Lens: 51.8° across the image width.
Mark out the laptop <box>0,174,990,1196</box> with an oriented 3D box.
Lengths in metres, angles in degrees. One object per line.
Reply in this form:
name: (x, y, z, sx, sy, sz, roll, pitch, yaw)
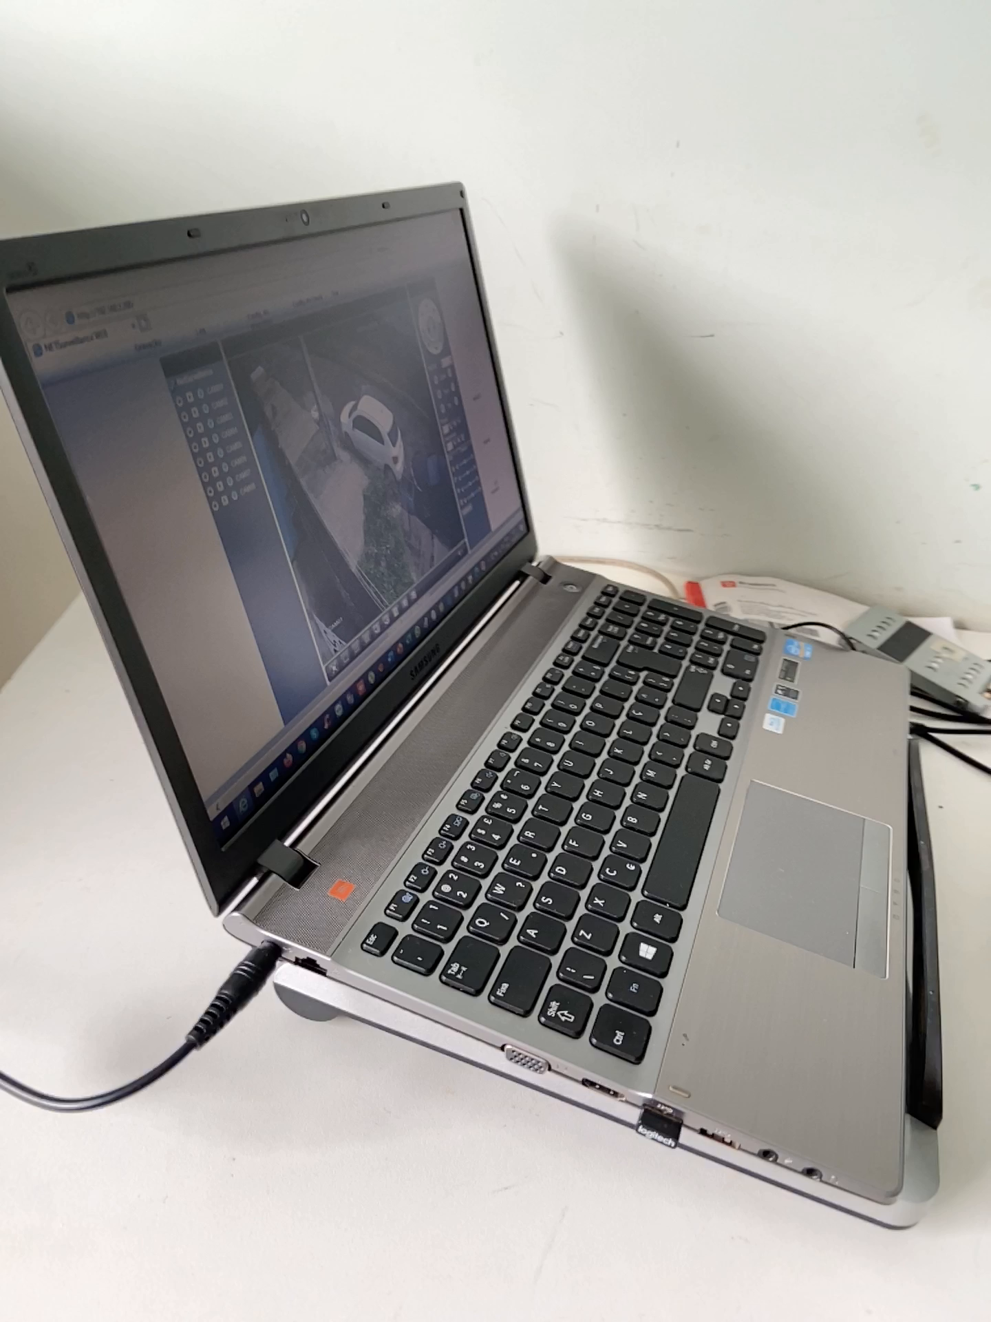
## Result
laptop: (0.049, -0.059, 0.456, 0.334, 0.213, 0.369, 18, 31, 14)
